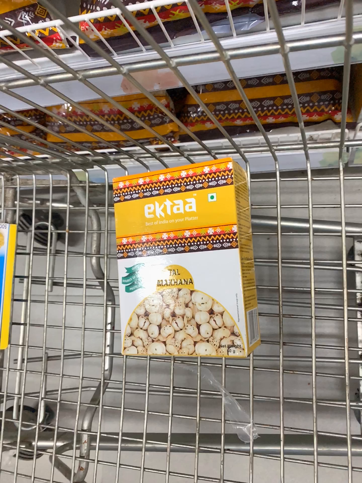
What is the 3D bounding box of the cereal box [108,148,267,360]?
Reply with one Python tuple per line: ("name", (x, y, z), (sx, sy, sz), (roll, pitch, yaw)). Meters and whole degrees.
("cereal box", (0.007, 0.016, 0.373), (0.130, 0.070, 0.180), (-6, 86, 23))
